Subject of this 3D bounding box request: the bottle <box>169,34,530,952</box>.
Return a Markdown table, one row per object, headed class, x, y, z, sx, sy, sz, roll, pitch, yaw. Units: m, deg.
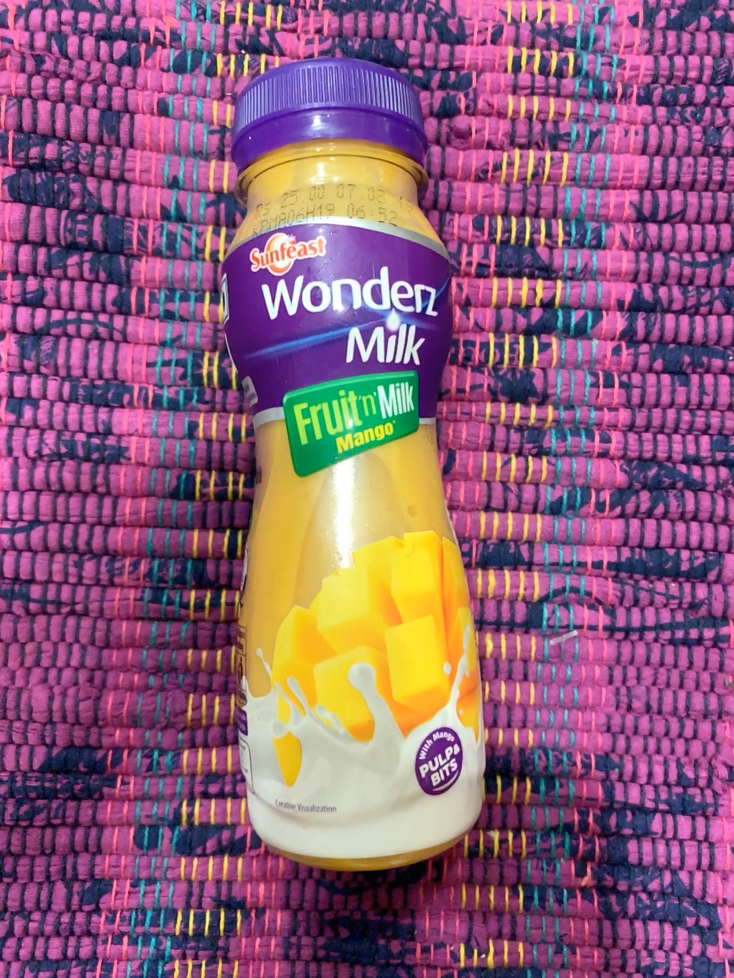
| class | x | y | z | sx | sy | sz | roll | pitch | yaw |
| --- | --- | --- | --- | --- | --- | --- | --- | --- | --- |
| bottle | -0.005 | -0.002 | 0.148 | 0.050 | 0.040 | 0.150 | -4 | 87 | -5 |
